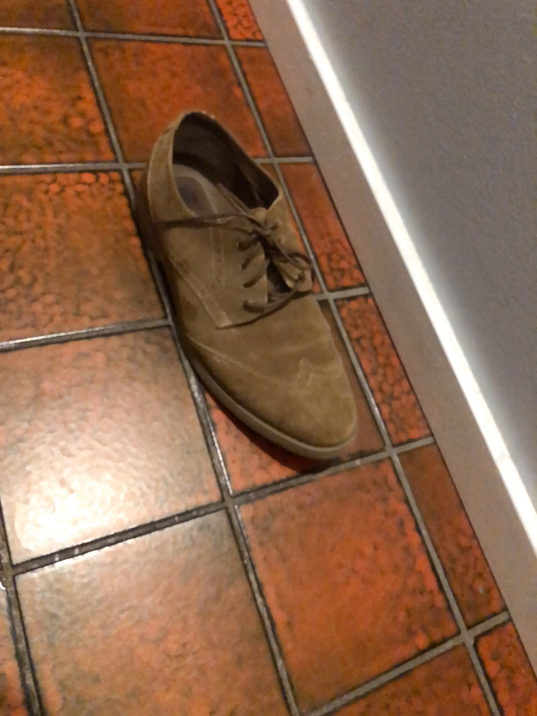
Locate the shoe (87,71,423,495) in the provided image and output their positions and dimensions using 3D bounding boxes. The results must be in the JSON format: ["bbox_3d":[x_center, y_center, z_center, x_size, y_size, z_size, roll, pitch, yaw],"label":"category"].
[{"bbox_3d":[-0.024,-0.065,0.468,0.120,0.100,0.300,-20,76,-28],"label":"shoe"}]
